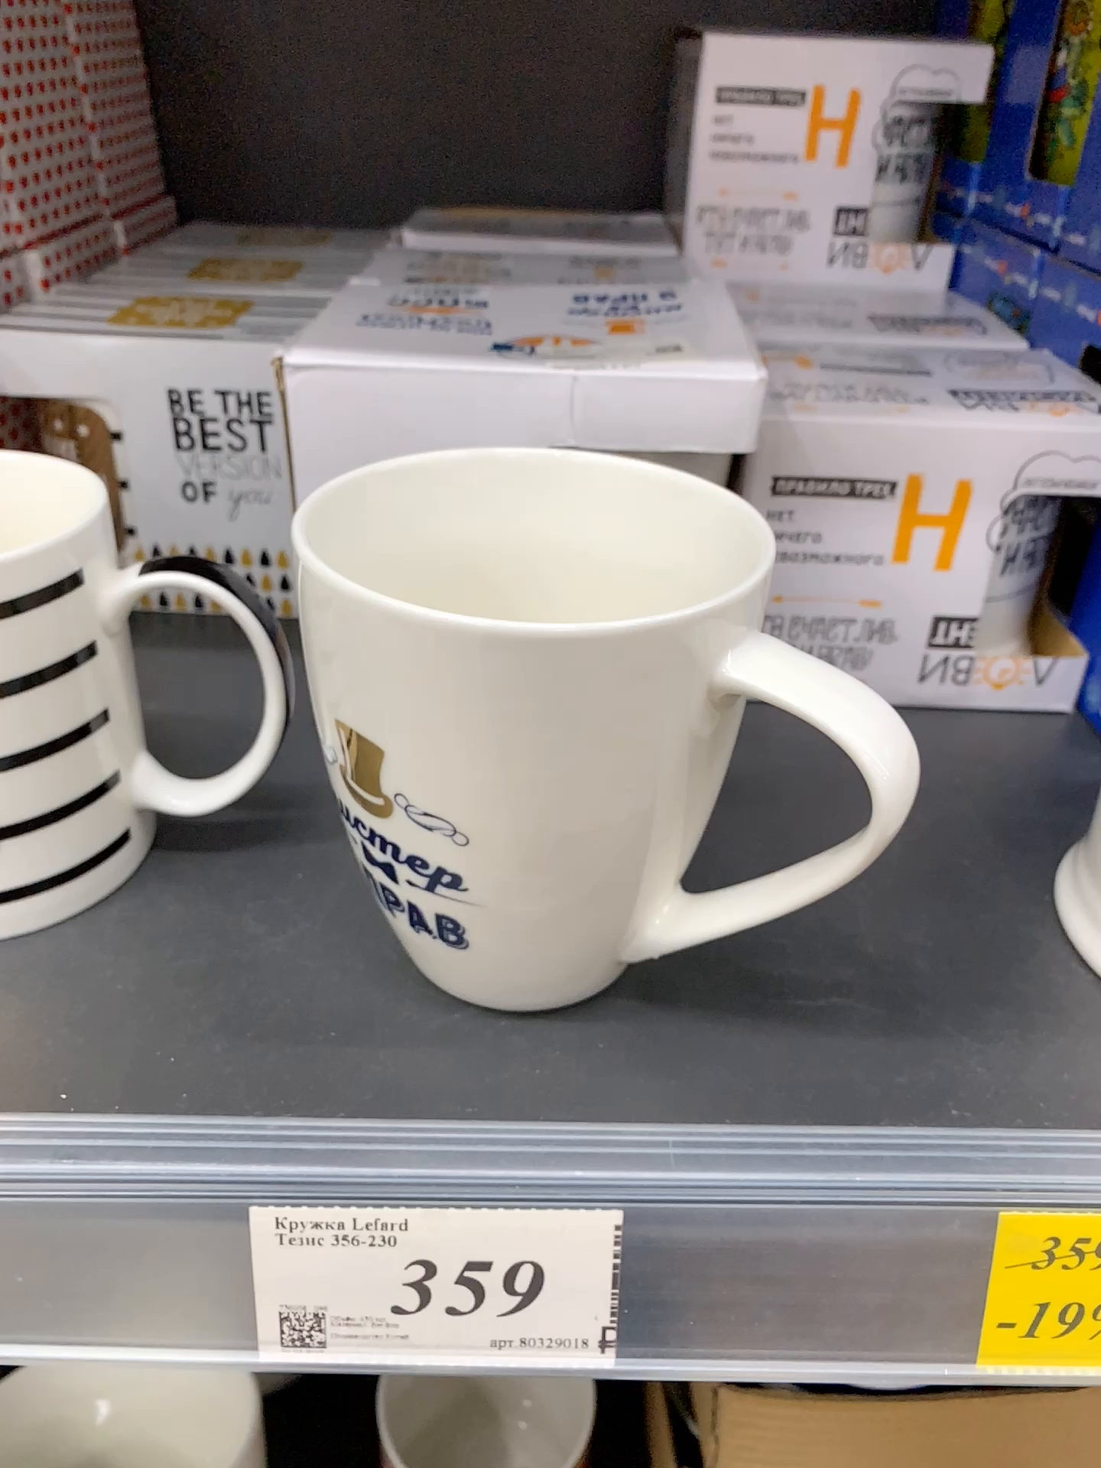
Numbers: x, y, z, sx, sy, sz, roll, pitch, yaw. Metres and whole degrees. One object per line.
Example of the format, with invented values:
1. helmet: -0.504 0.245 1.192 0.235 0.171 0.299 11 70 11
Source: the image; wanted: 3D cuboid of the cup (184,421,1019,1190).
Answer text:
1. cup: 0.010 0.002 0.245 0.132 0.093 0.094 20 35 27
